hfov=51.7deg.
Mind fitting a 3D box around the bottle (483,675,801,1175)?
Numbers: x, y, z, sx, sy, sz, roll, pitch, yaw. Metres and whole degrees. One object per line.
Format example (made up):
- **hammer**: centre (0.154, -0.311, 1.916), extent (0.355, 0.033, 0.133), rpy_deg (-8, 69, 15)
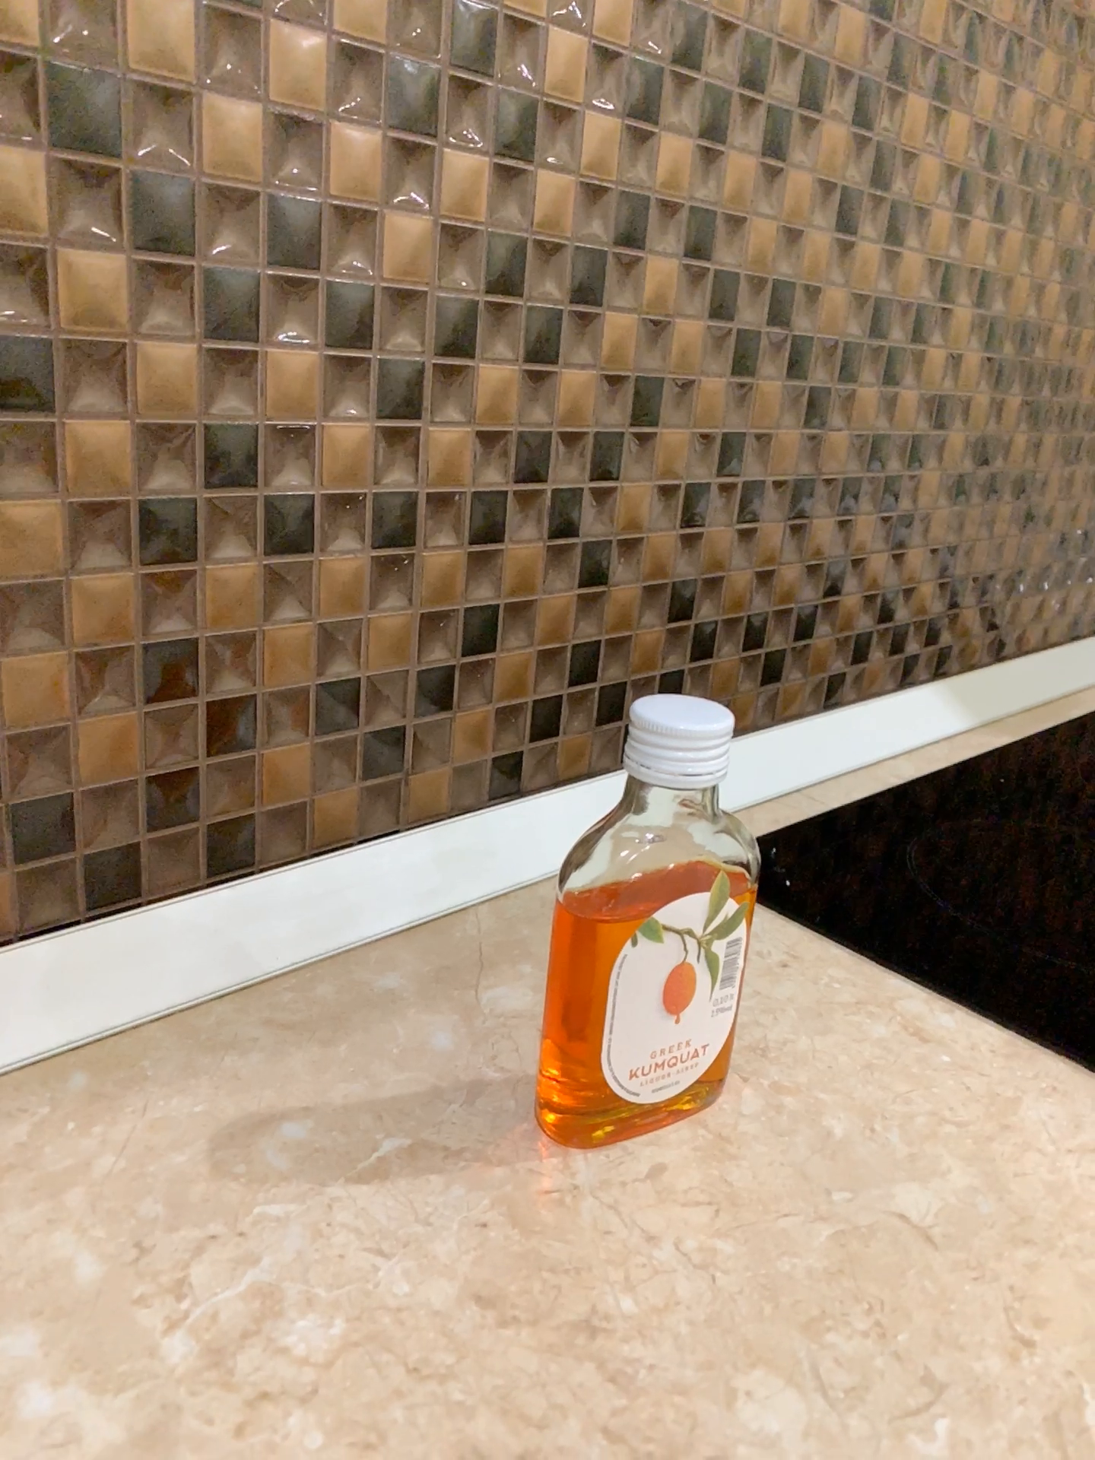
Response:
- **bottle**: centre (0.026, 0.056, 0.340), extent (0.070, 0.133, 0.040), rpy_deg (-6, 22, -31)
